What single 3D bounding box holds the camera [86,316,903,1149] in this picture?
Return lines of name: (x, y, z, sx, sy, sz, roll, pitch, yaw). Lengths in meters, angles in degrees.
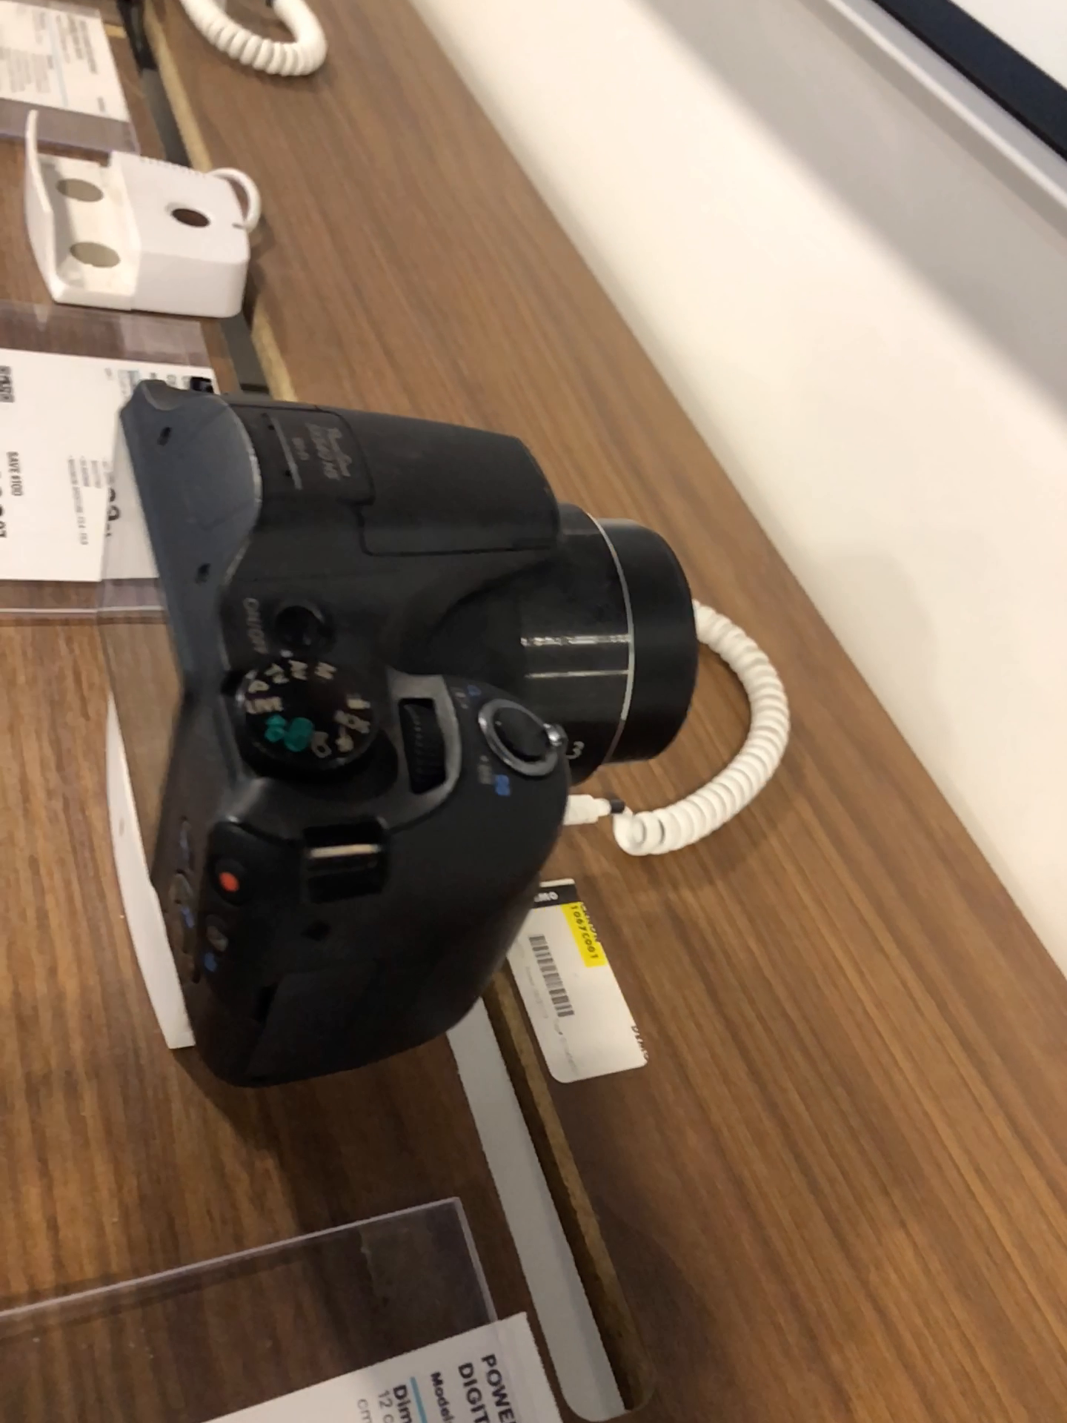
camera: (-0.019, -0.002, 0.229, 0.101, 0.079, 0.121, -5, 51, -31)
